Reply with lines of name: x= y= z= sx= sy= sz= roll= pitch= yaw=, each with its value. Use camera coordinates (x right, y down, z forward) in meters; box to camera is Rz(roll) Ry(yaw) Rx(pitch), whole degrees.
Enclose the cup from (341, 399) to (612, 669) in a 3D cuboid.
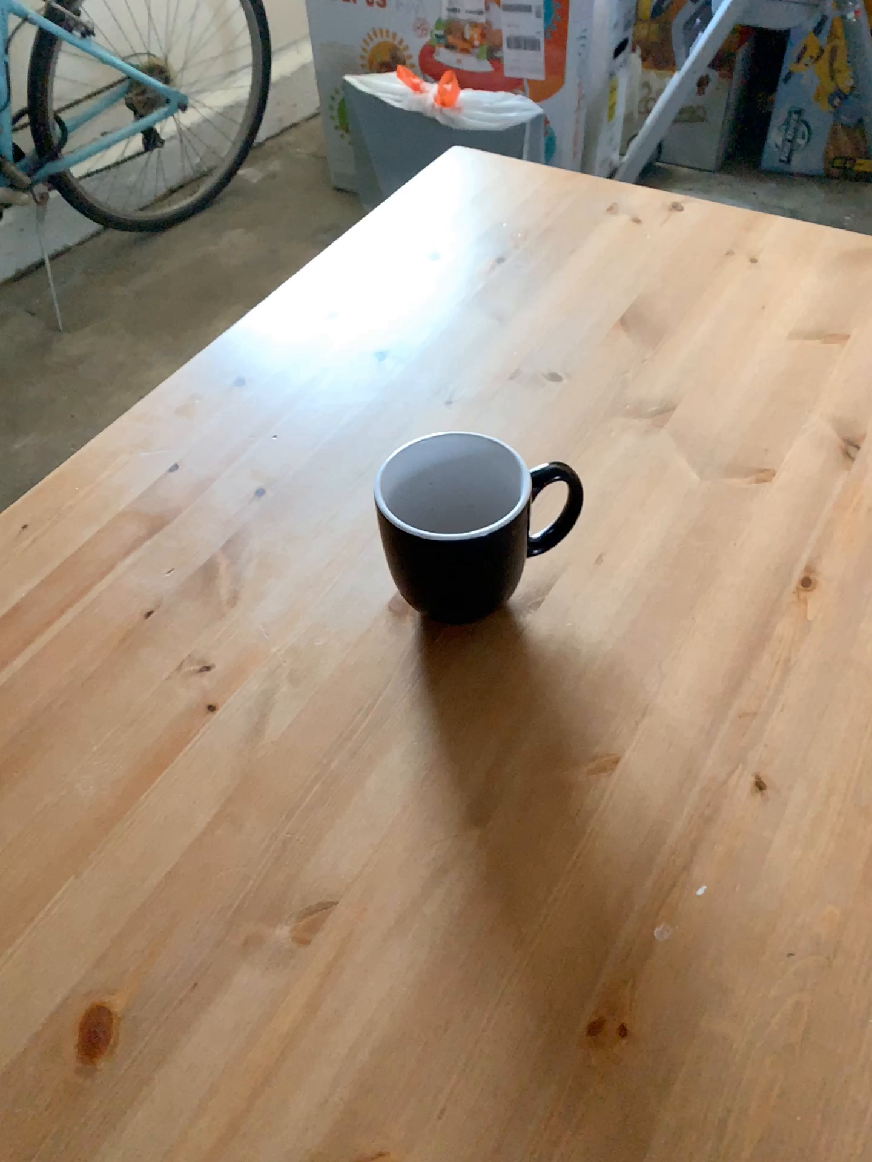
cup: x=0.026 y=-0.032 z=0.597 sx=0.140 sy=0.100 sz=0.100 roll=-21 pitch=52 yaw=-12
